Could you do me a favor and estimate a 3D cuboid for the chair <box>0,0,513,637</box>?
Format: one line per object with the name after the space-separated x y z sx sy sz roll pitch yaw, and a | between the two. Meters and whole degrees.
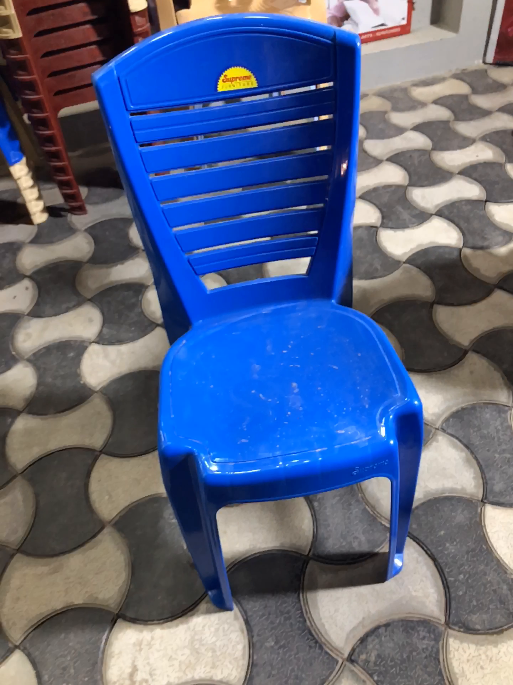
0.012 -0.021 0.807 0.470 0.725 0.513 -9 43 -1 | chair
